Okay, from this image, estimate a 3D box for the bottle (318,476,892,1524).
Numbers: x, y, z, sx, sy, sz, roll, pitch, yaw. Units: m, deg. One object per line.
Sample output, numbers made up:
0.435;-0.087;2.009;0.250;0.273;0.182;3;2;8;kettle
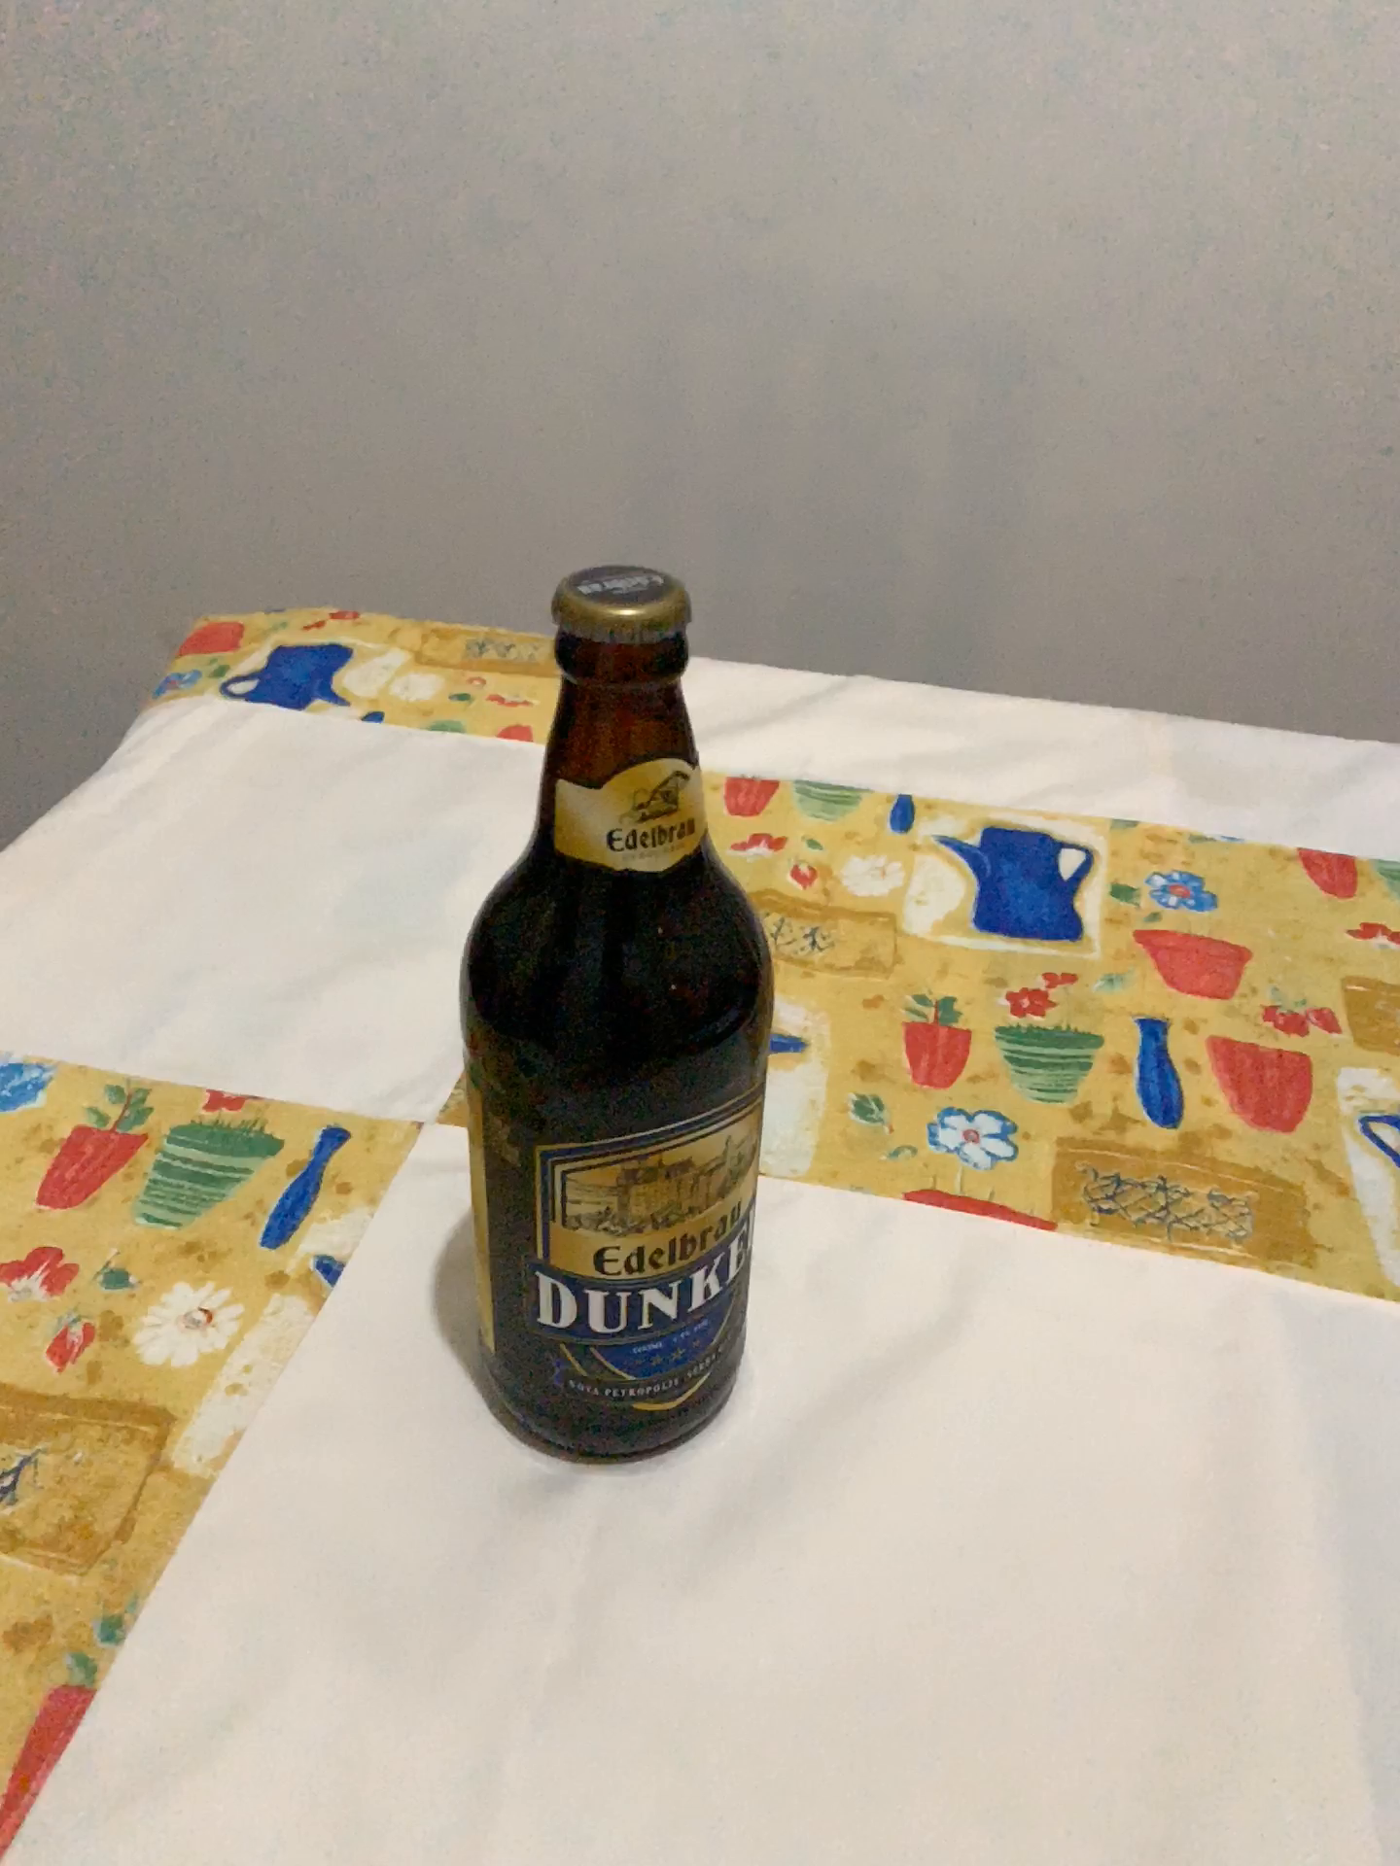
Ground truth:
-0.024;0.021;0.331;0.080;0.219;0.080;2;34;-1;bottle
